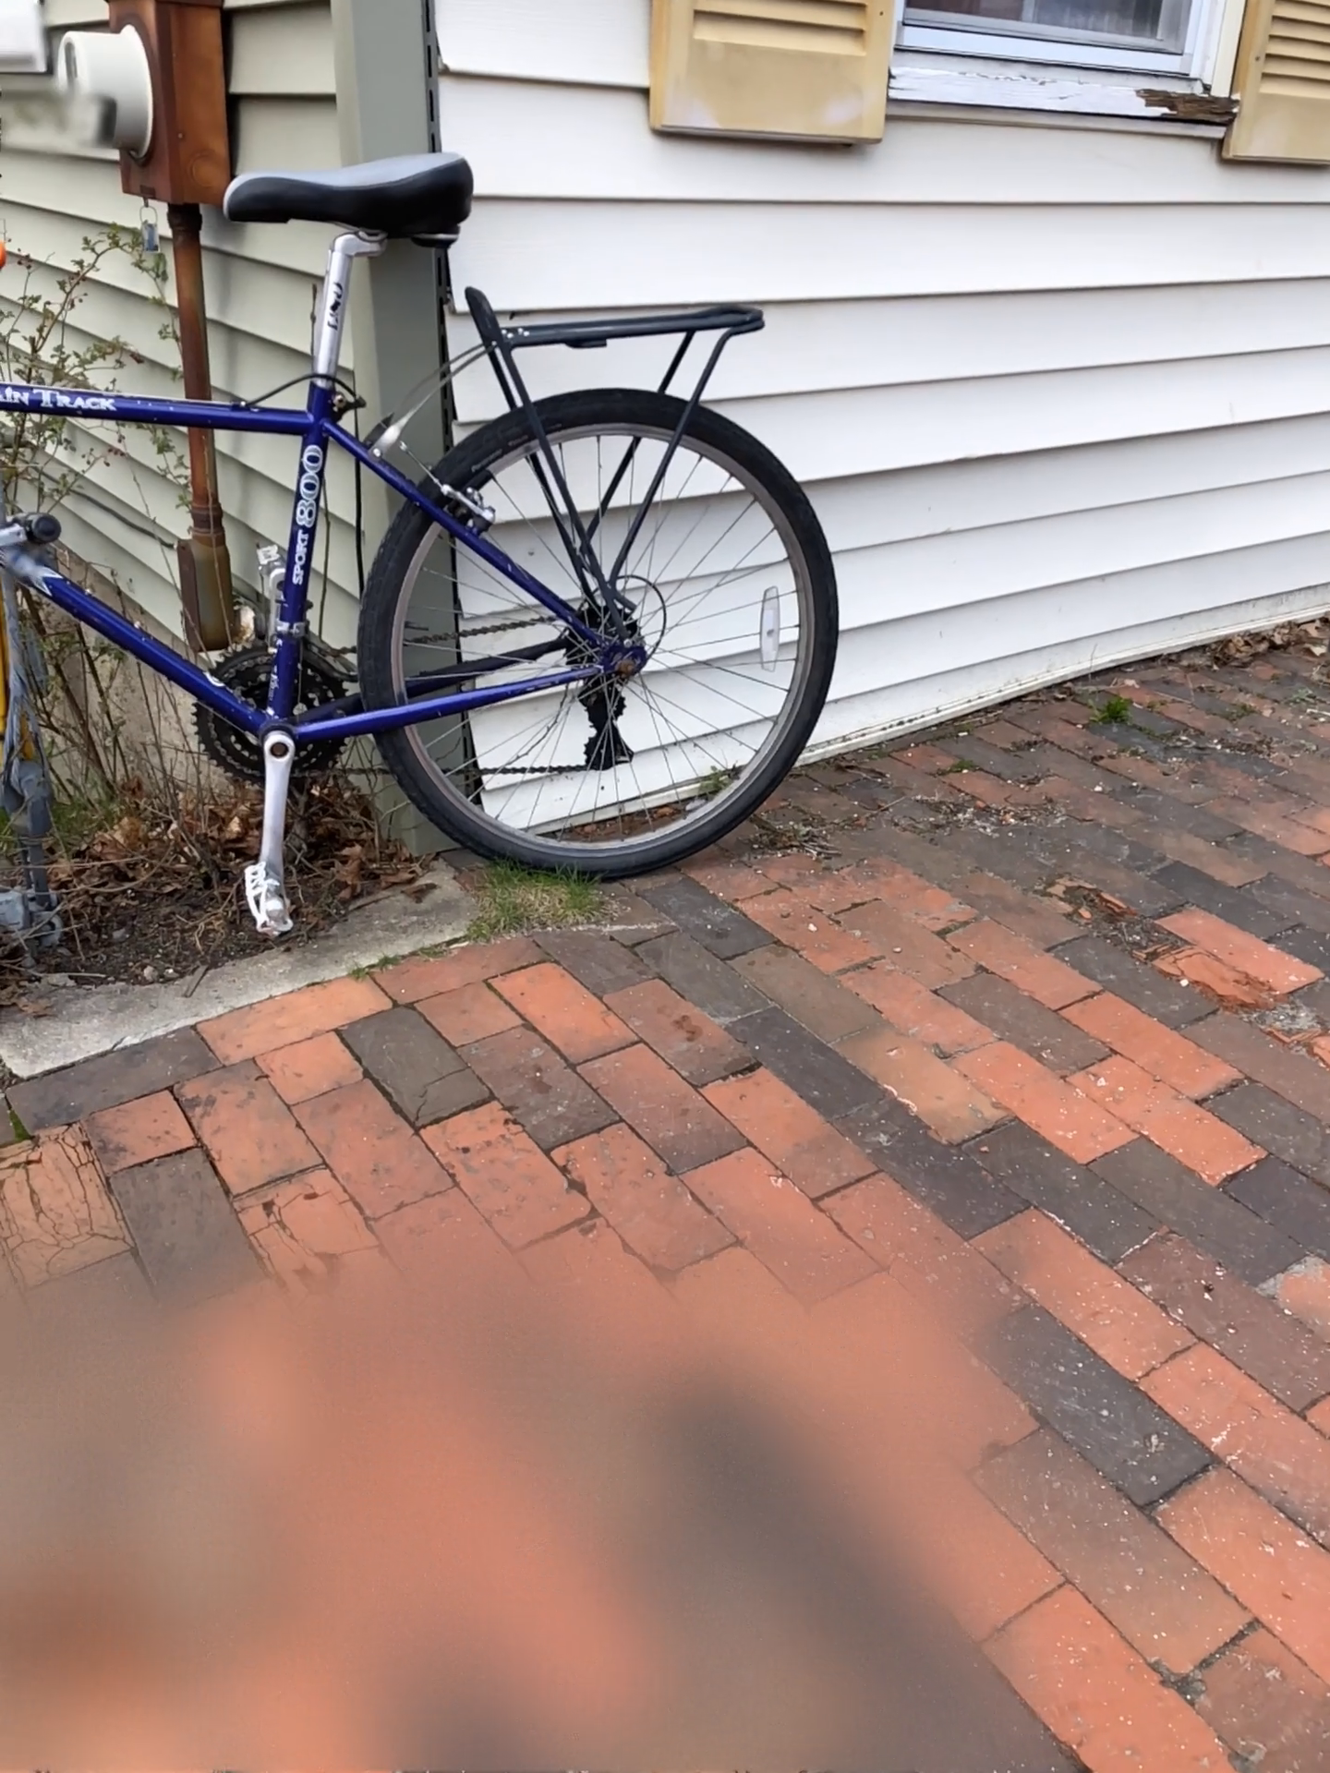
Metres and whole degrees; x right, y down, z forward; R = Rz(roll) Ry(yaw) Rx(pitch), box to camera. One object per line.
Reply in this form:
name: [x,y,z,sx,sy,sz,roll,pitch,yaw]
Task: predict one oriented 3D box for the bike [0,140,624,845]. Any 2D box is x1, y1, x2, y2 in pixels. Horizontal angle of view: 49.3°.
bike: [-0.706,-0.473,1.704,1.146,0.689,0.515,-1,28,-5]
